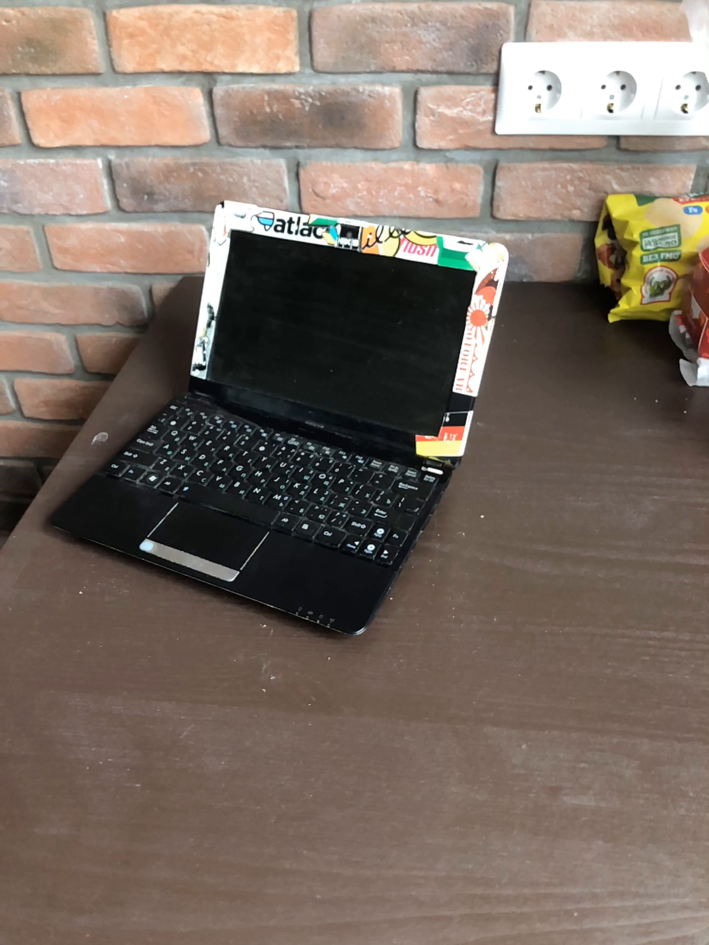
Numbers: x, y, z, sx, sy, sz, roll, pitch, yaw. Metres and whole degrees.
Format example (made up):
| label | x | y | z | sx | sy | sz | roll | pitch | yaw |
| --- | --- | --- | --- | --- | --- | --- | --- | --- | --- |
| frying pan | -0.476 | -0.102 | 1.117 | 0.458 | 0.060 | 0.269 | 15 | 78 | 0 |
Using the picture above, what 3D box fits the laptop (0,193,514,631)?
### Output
| label | x | y | z | sx | sy | sz | roll | pitch | yaw |
| --- | --- | --- | --- | --- | --- | --- | --- | --- | --- |
| laptop | -0.059 | -0.070 | 0.574 | 0.257 | 0.139 | 0.268 | 16 | 44 | 22 |
